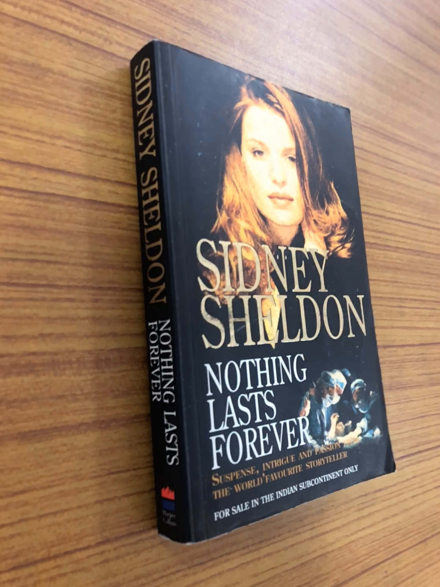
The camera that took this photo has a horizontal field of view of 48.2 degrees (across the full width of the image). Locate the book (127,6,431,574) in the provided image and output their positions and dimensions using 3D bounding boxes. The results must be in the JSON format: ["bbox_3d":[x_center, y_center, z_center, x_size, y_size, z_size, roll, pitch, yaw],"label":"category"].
[{"bbox_3d":[0.029,-0.004,0.195,0.120,0.030,0.170,0,83,-39],"label":"book"}]
